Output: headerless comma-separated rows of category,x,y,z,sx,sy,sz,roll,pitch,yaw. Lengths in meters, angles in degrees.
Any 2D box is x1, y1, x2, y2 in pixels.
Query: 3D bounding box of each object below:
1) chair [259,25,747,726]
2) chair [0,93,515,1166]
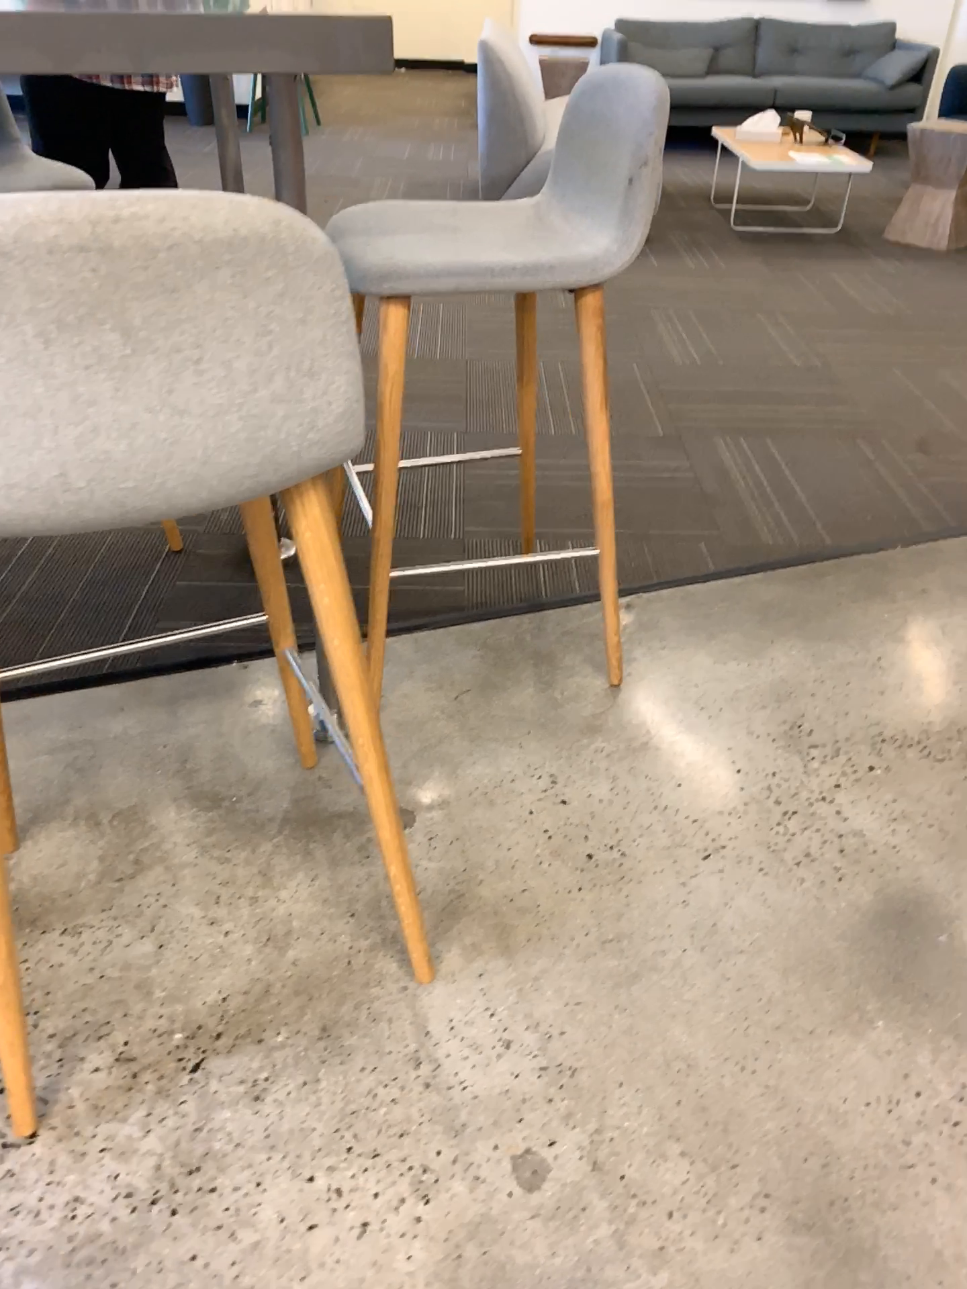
chair,-0.066,-0.561,1.874,0.580,0.974,0.966,-6,36,-11
chair,-0.358,-0.044,1.078,0.550,0.914,0.573,-13,37,-20
